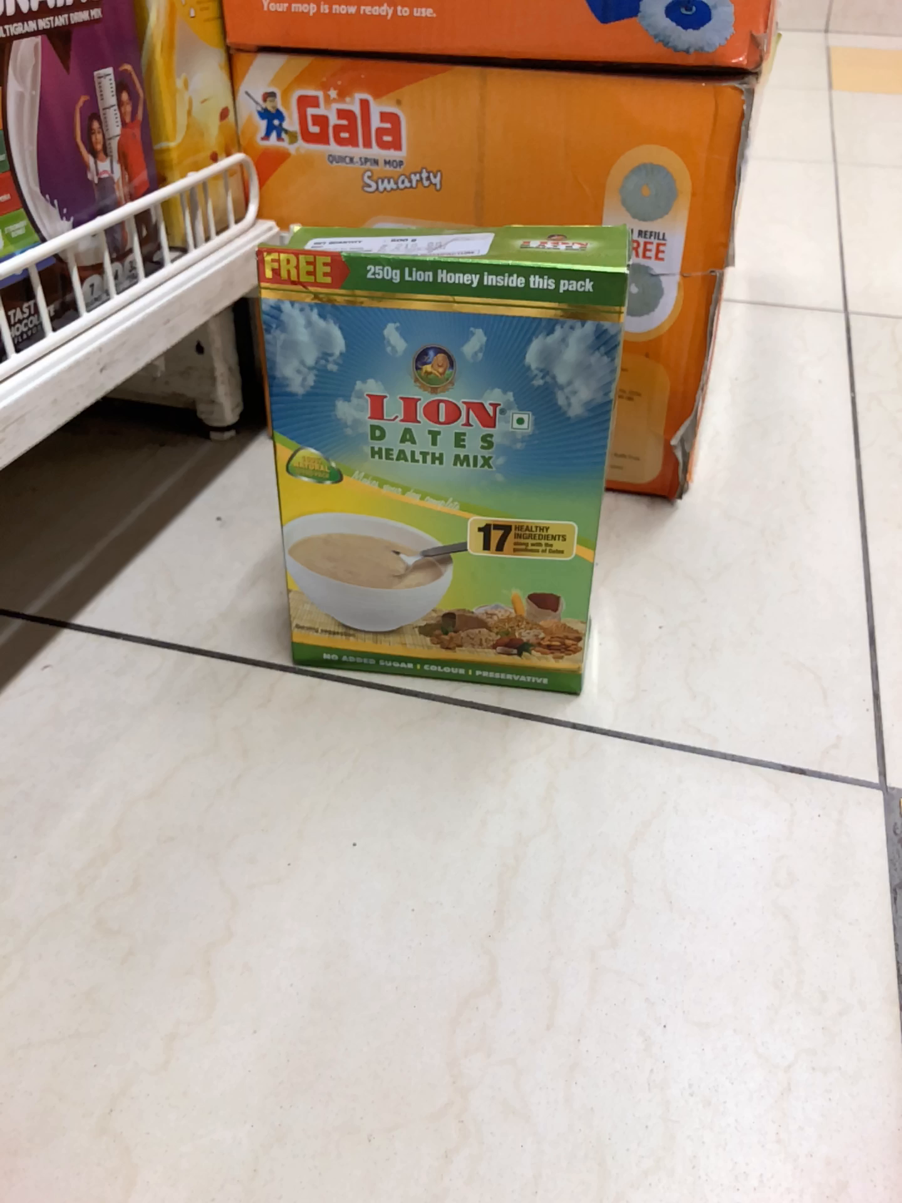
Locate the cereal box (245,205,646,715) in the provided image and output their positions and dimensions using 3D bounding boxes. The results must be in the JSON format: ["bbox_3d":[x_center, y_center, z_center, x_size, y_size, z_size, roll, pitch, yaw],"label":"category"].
[{"bbox_3d":[-0.001,-0.061,0.490,0.160,0.228,0.071,5,35,5],"label":"cereal box"}]
